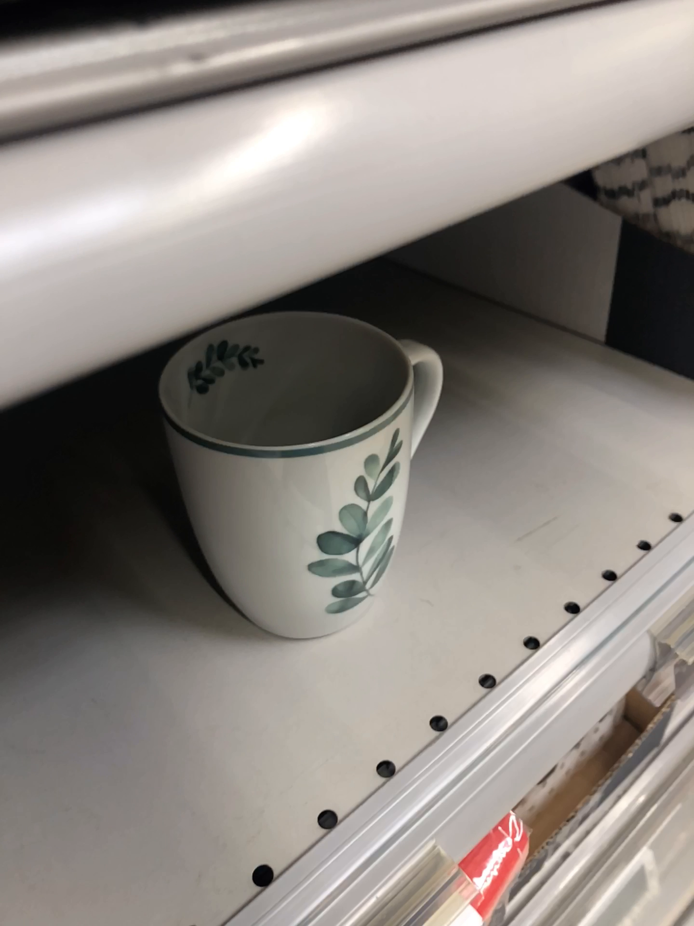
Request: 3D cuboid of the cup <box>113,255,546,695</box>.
[{"bbox_3d":[-0.004,-0.002,0.283,0.117,0.093,0.082,-28,46,-29],"label":"cup"}]
